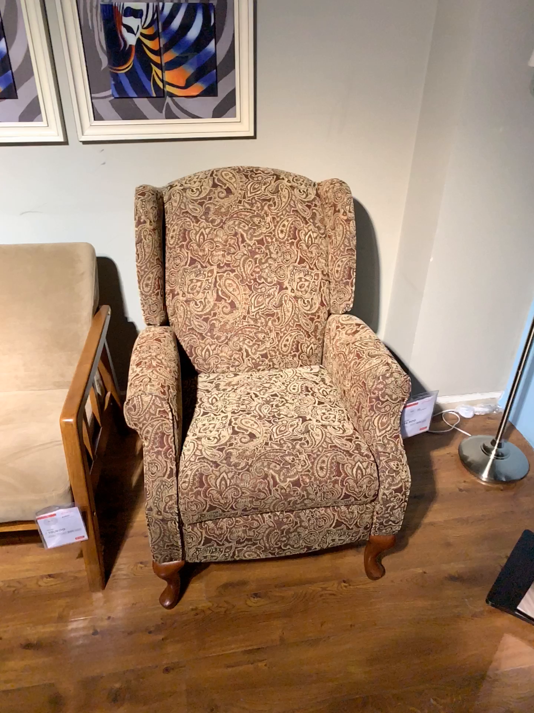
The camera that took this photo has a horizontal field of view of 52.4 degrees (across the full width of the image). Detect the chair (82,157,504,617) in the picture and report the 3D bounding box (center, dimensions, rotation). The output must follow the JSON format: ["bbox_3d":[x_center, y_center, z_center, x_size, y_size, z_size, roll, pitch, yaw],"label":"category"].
[{"bbox_3d":[-0.005,0.033,1.515,0.750,0.956,0.763,-4,32,-9],"label":"chair"}]
